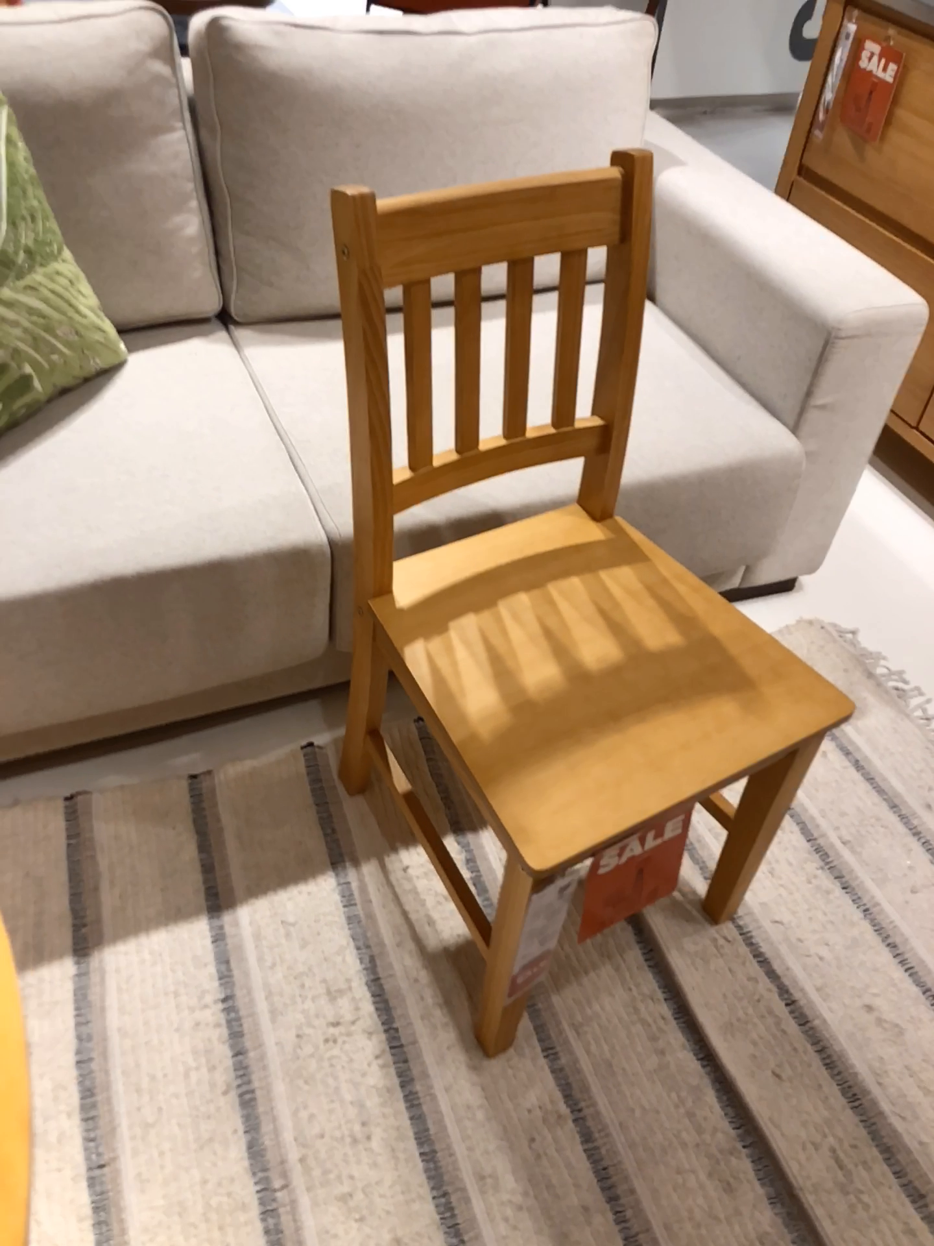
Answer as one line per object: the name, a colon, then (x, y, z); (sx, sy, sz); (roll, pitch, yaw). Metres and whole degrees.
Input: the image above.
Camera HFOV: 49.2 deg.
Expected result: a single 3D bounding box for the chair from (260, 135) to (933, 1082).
chair: (0.113, -0.007, 1.142); (0.461, 0.814, 0.522); (-21, 49, -26)
